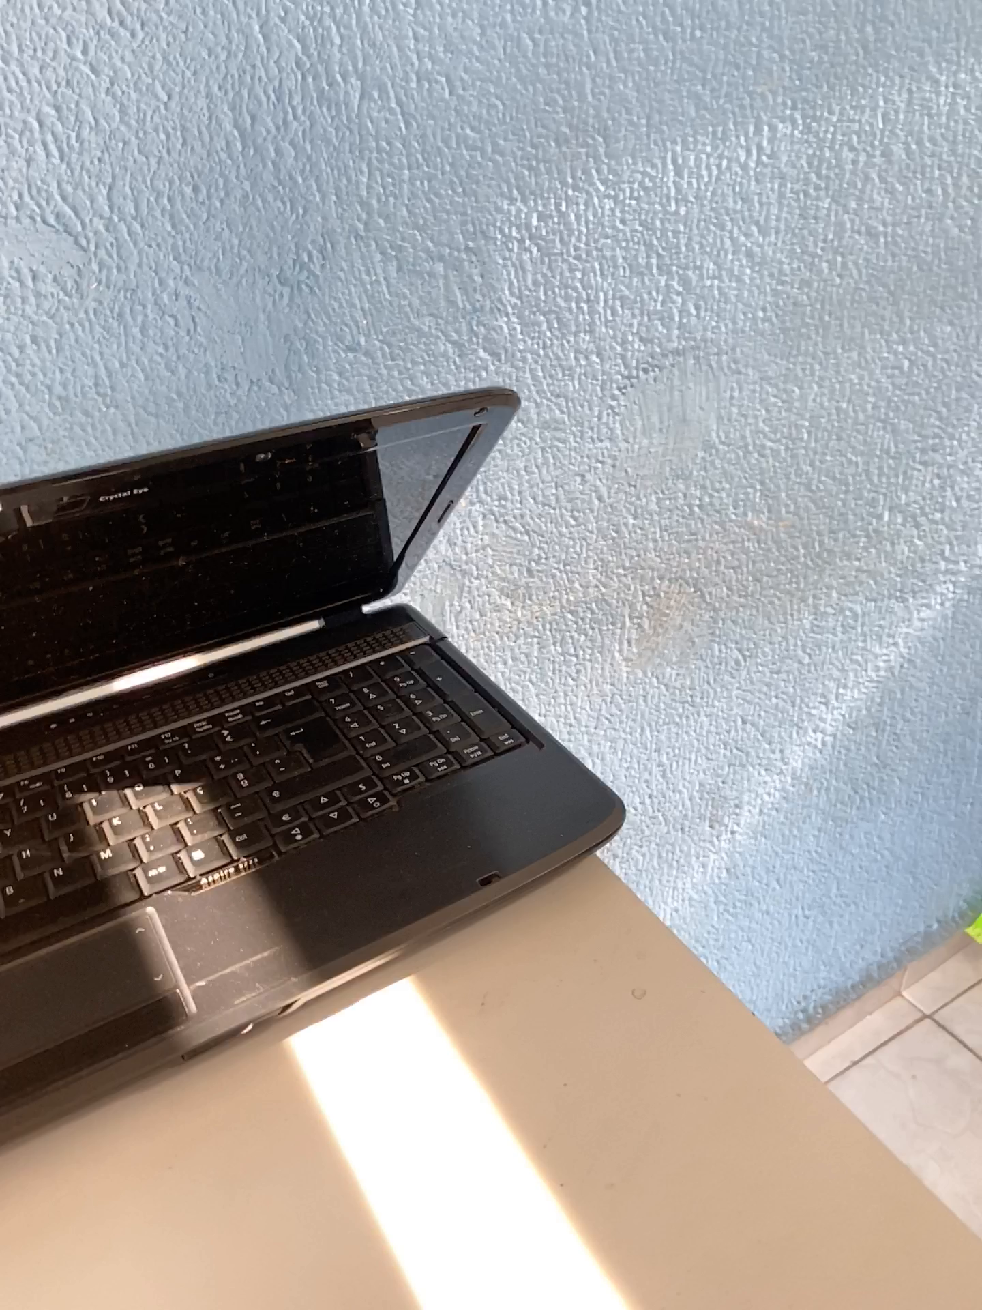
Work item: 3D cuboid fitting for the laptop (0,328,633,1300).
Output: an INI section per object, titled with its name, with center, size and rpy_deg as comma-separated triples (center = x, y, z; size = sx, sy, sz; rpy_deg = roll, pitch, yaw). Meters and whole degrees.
[laptop]
center = -0.162, 0.004, 0.422
size = 0.379, 0.174, 0.236
rpy_deg = -19, 34, -26
